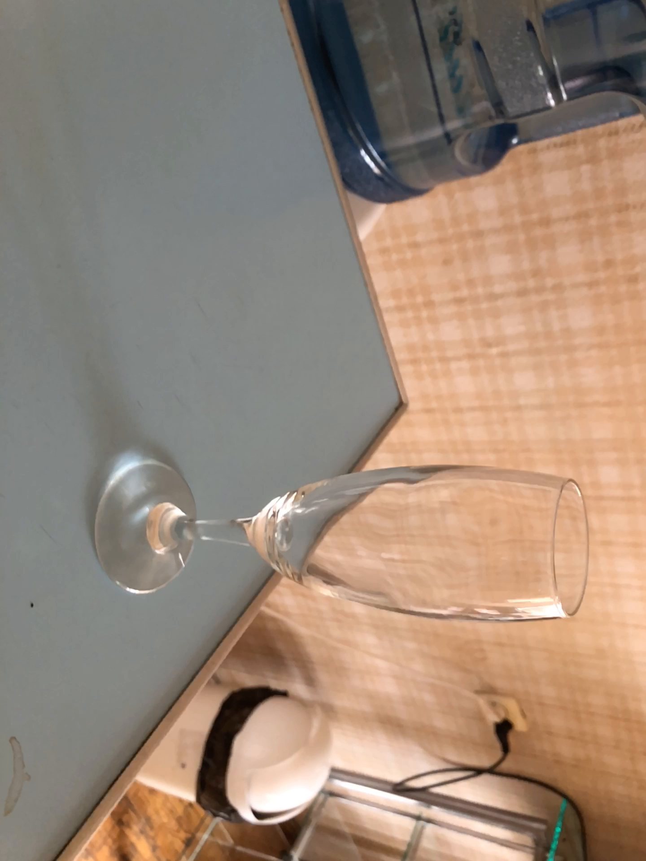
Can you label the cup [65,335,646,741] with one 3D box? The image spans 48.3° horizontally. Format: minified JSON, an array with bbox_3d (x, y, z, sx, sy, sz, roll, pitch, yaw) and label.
[{"bbox_3d":[0.017,0.036,0.282,0.090,0.199,0.090,5,84,-56],"label":"cup"}]
